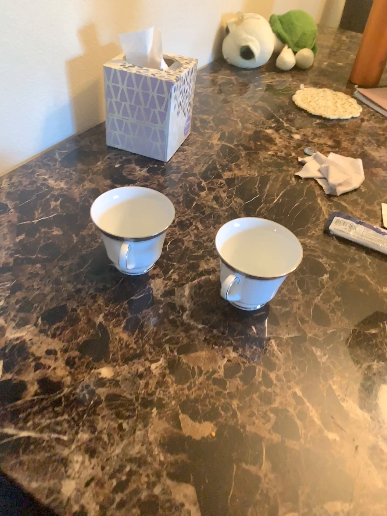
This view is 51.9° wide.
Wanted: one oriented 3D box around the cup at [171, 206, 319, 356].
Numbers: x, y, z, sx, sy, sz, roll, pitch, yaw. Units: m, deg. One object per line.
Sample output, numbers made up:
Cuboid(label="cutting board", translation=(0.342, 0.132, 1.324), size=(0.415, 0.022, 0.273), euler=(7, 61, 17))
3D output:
Cuboid(label="cup", translation=(0.052, 0.018, 0.416), size=(0.090, 0.070, 0.120), euler=(34, 50, 26))

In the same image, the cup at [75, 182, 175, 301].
Cuboid(label="cup", translation=(-0.069, -0.019, 0.427), size=(0.090, 0.070, 0.111), euler=(1, 44, -6))
